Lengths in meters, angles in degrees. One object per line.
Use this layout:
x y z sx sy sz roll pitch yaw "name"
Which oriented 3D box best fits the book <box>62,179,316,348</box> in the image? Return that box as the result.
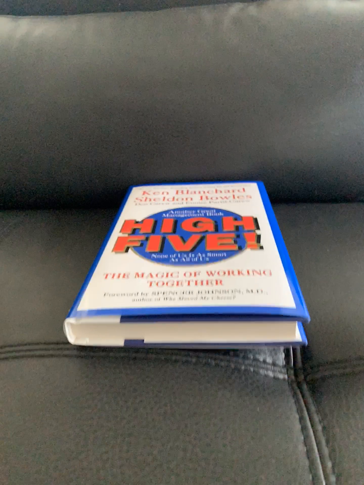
0.008 -0.001 0.326 0.150 0.023 0.222 -1 31 4 "book"
